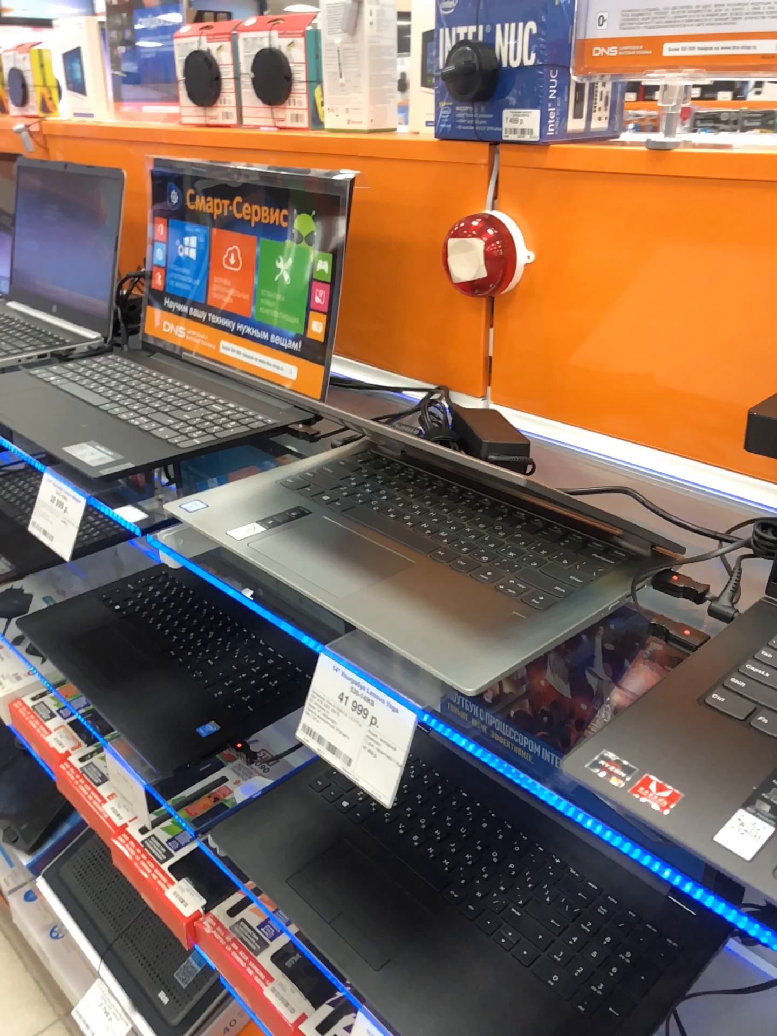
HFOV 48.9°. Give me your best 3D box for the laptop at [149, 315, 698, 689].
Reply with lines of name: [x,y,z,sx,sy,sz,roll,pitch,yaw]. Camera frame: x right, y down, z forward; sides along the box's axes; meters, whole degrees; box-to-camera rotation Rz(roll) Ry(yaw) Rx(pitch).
laptop: [0.011,-0.043,0.596,0.210,0.110,0.314,-22,34,-37]

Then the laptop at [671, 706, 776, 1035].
laptop: [0.339,0.313,0.379,0.235,0.228,0.329,-24,34,-38]

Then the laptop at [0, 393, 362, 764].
laptop: [-0.241,0.041,0.954,0.244,0.222,0.333,-25,36,-36]

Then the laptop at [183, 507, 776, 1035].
laptop: [0.056,0.189,0.666,0.260,0.223,0.362,-22,33,-37]

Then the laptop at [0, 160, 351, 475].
laptop: [-0.256,-0.225,0.847,0.277,0.219,0.330,-23,34,-39]

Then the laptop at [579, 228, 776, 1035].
laptop: [0.279,0.033,0.321,0.328,0.210,0.247,24,35,39]
